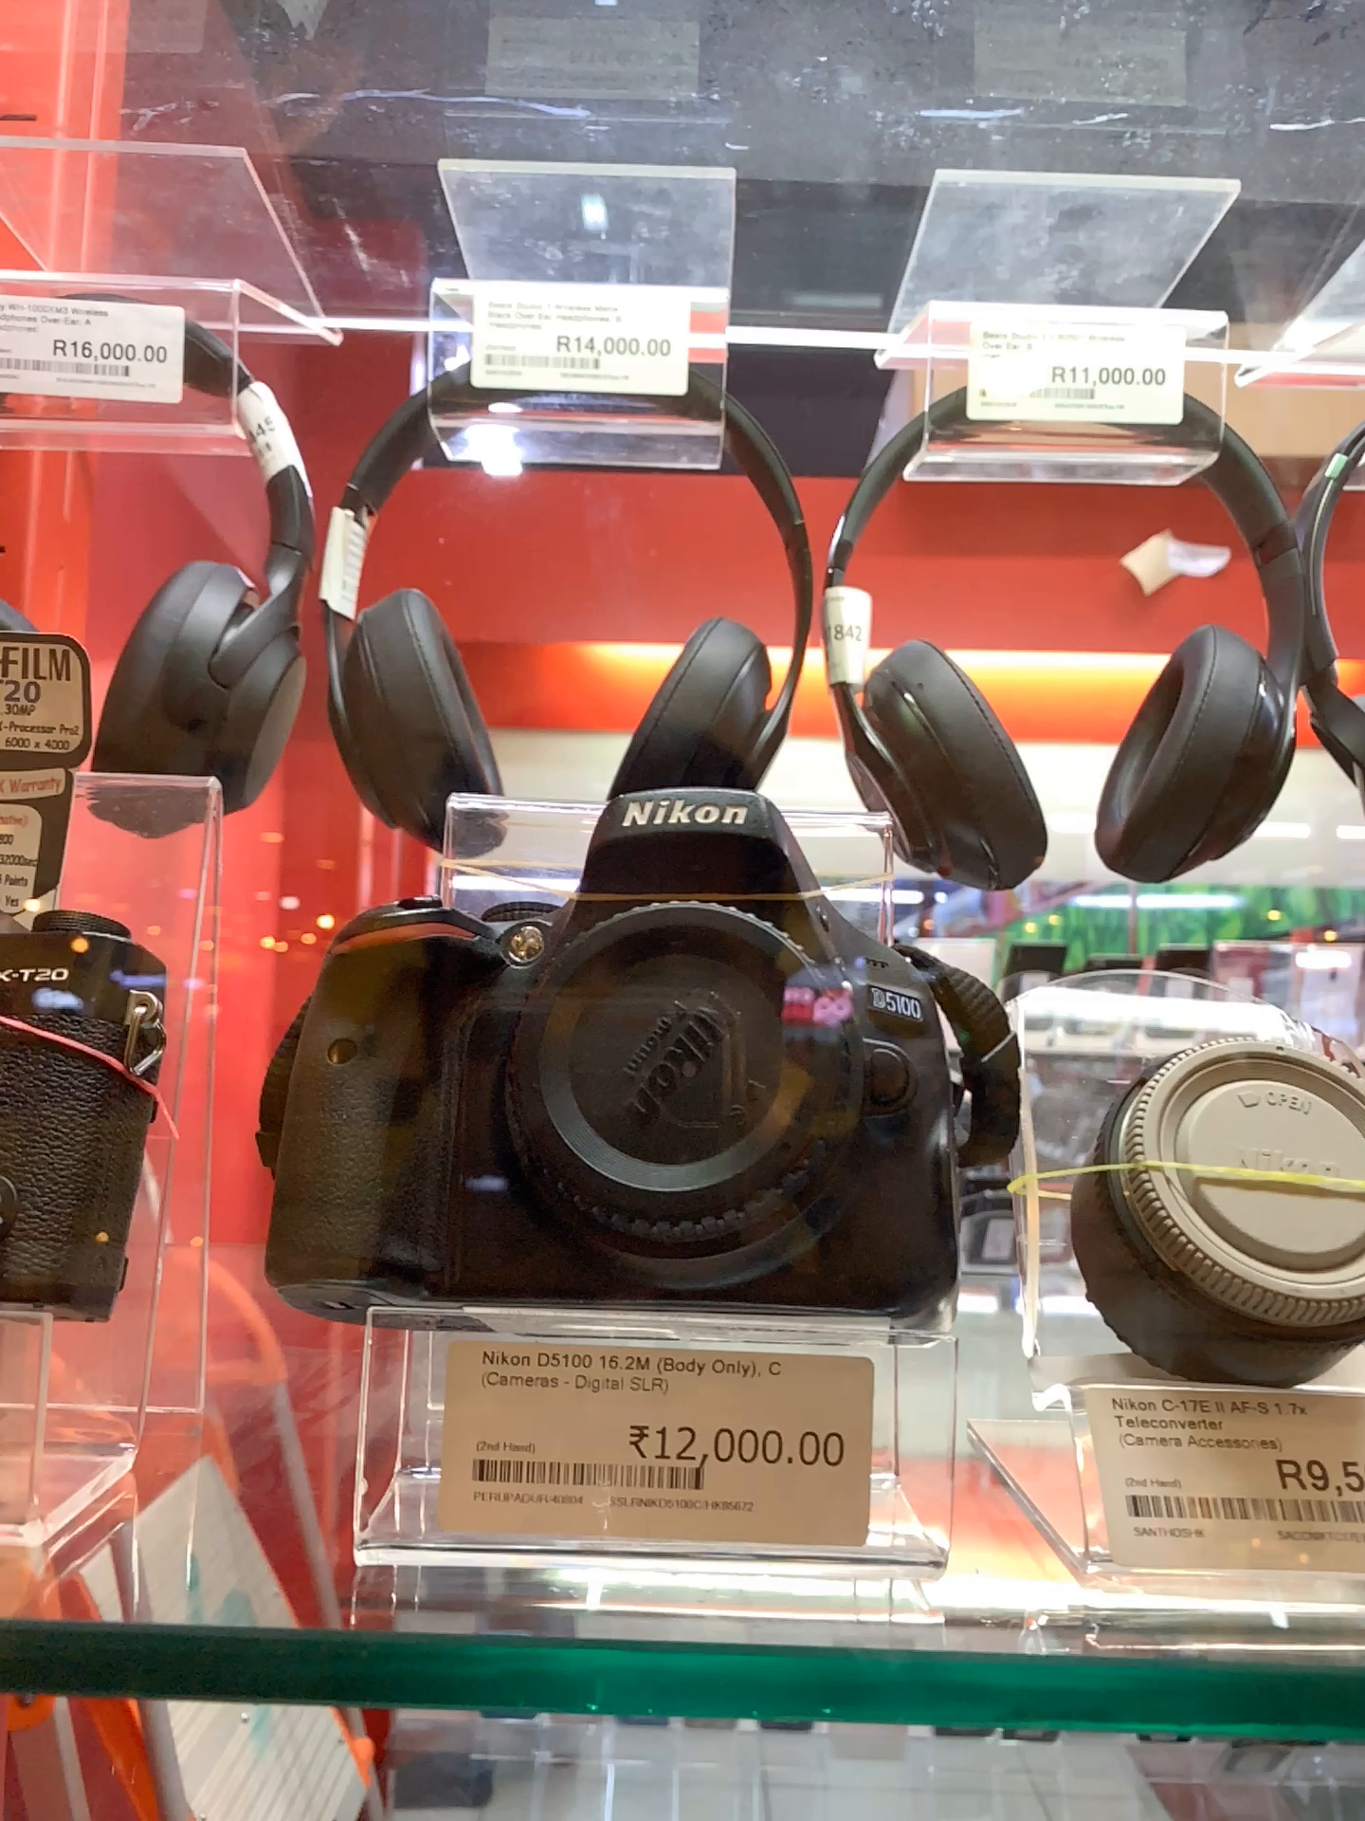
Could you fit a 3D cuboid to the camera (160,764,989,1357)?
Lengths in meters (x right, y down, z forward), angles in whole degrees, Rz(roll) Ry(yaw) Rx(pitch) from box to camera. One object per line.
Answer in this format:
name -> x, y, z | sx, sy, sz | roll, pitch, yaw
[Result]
camera -> -0.016, 0.026, 0.263 | 0.130, 0.090, 0.070 | 2, -6, 1
